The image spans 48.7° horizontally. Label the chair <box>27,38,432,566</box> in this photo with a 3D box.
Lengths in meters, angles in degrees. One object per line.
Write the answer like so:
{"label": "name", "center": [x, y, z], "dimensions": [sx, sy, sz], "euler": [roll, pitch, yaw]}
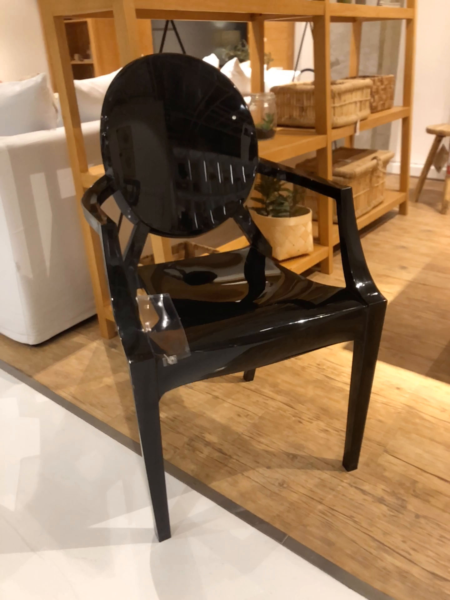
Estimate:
{"label": "chair", "center": [-0.028, -0.063, 1.120], "dimensions": [0.541, 0.903, 0.593], "euler": [-15, 29, -24]}
